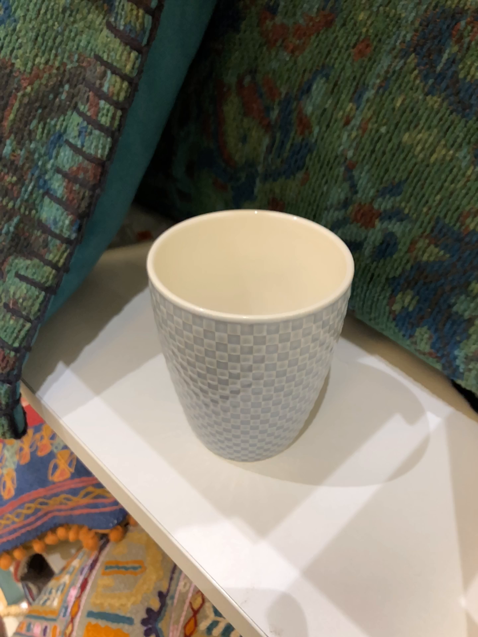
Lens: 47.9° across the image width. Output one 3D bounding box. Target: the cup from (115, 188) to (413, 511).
[{"bbox_3d":[0.002,0.006,0.234,0.090,0.079,0.101,-10,38,-12],"label":"cup"}]
